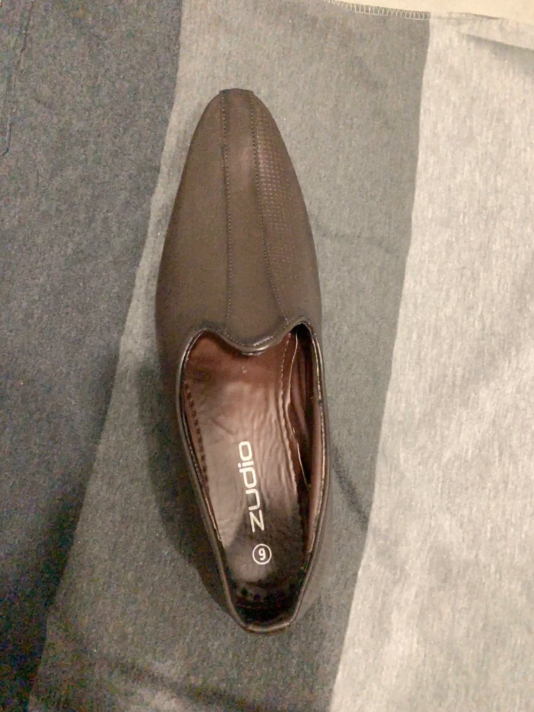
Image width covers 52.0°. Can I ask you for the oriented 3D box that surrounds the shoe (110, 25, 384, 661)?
[{"bbox_3d":[-0.014,-0.010,0.284,0.100,0.100,0.270,-4,82,-2],"label":"shoe"}]
